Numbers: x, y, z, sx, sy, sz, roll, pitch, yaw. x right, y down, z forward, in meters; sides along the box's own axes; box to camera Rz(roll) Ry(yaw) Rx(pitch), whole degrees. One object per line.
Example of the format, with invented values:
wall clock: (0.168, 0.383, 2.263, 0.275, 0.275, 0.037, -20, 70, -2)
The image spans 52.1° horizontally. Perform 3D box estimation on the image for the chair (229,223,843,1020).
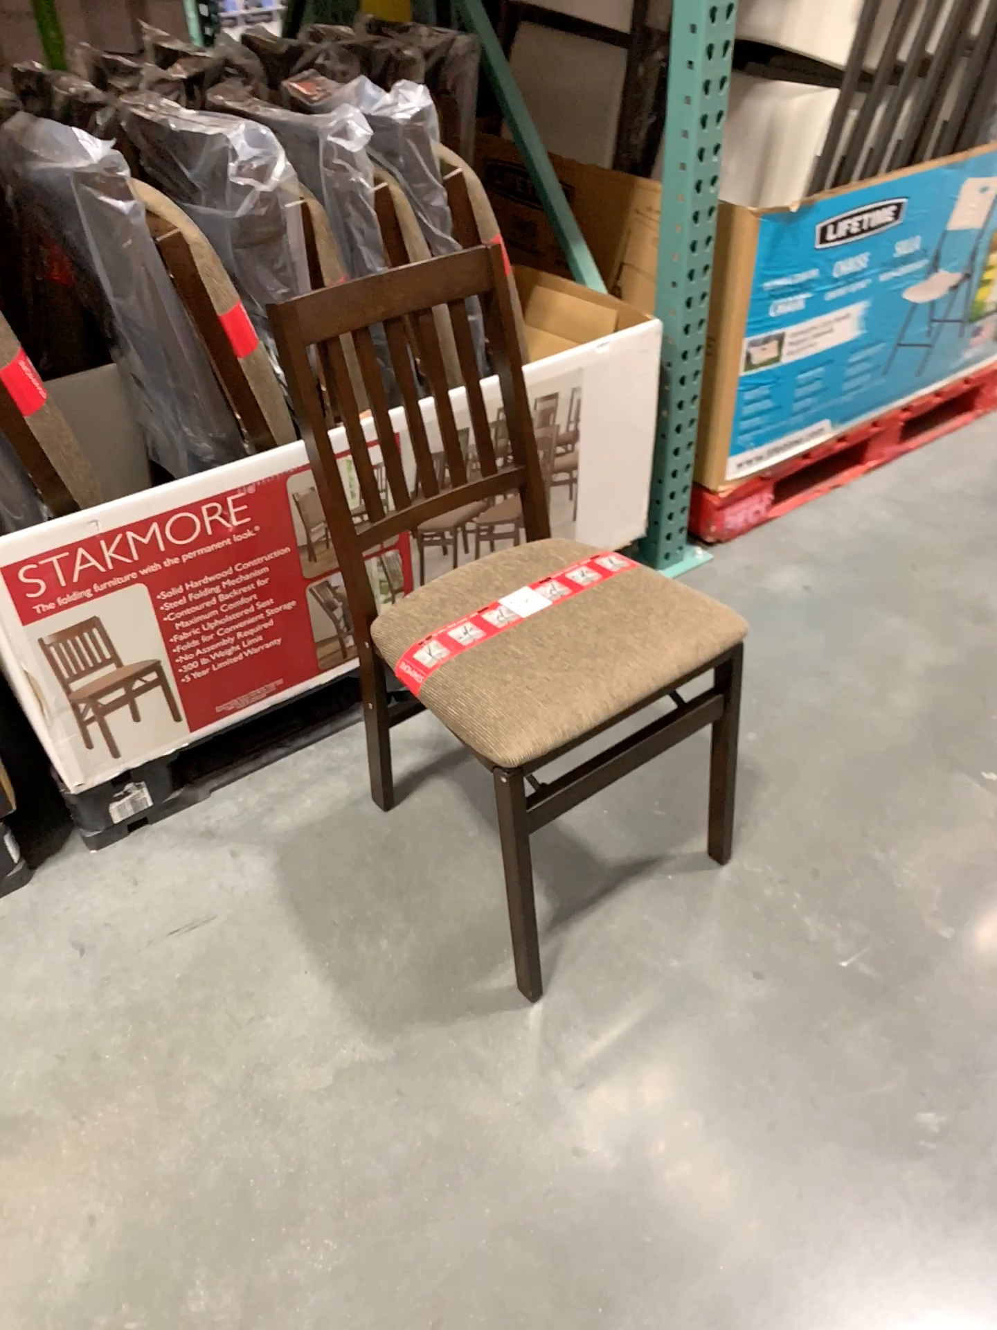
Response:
chair: (0.031, -0.065, 1.406, 0.421, 0.837, 0.574, -27, 45, -27)
